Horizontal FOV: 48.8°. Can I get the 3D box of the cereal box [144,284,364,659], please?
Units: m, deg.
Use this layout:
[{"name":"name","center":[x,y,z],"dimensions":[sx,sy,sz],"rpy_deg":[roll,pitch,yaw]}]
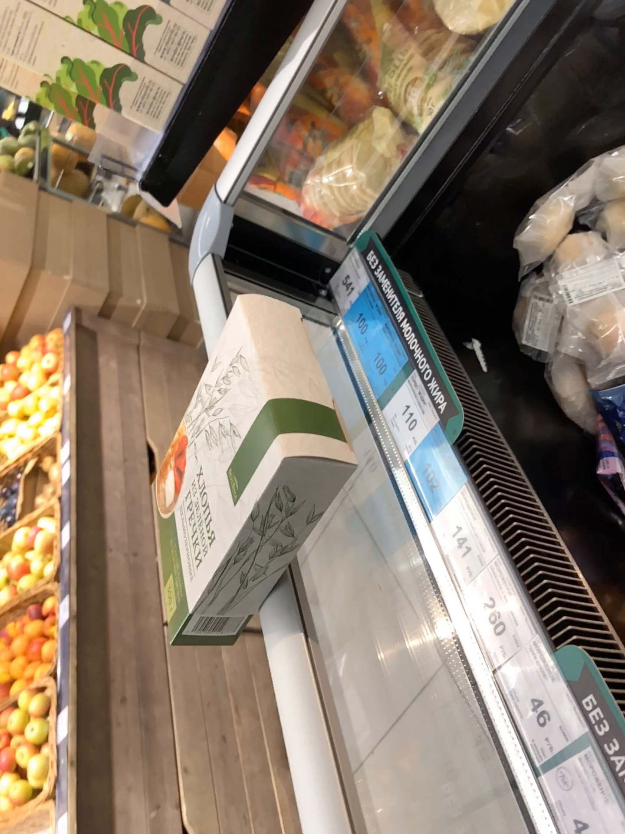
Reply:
[{"name":"cereal box","center":[-0.054,0.042,0.457],"dimensions":[0.200,0.050,0.151],"rpy_deg":[-59,36,38]}]
